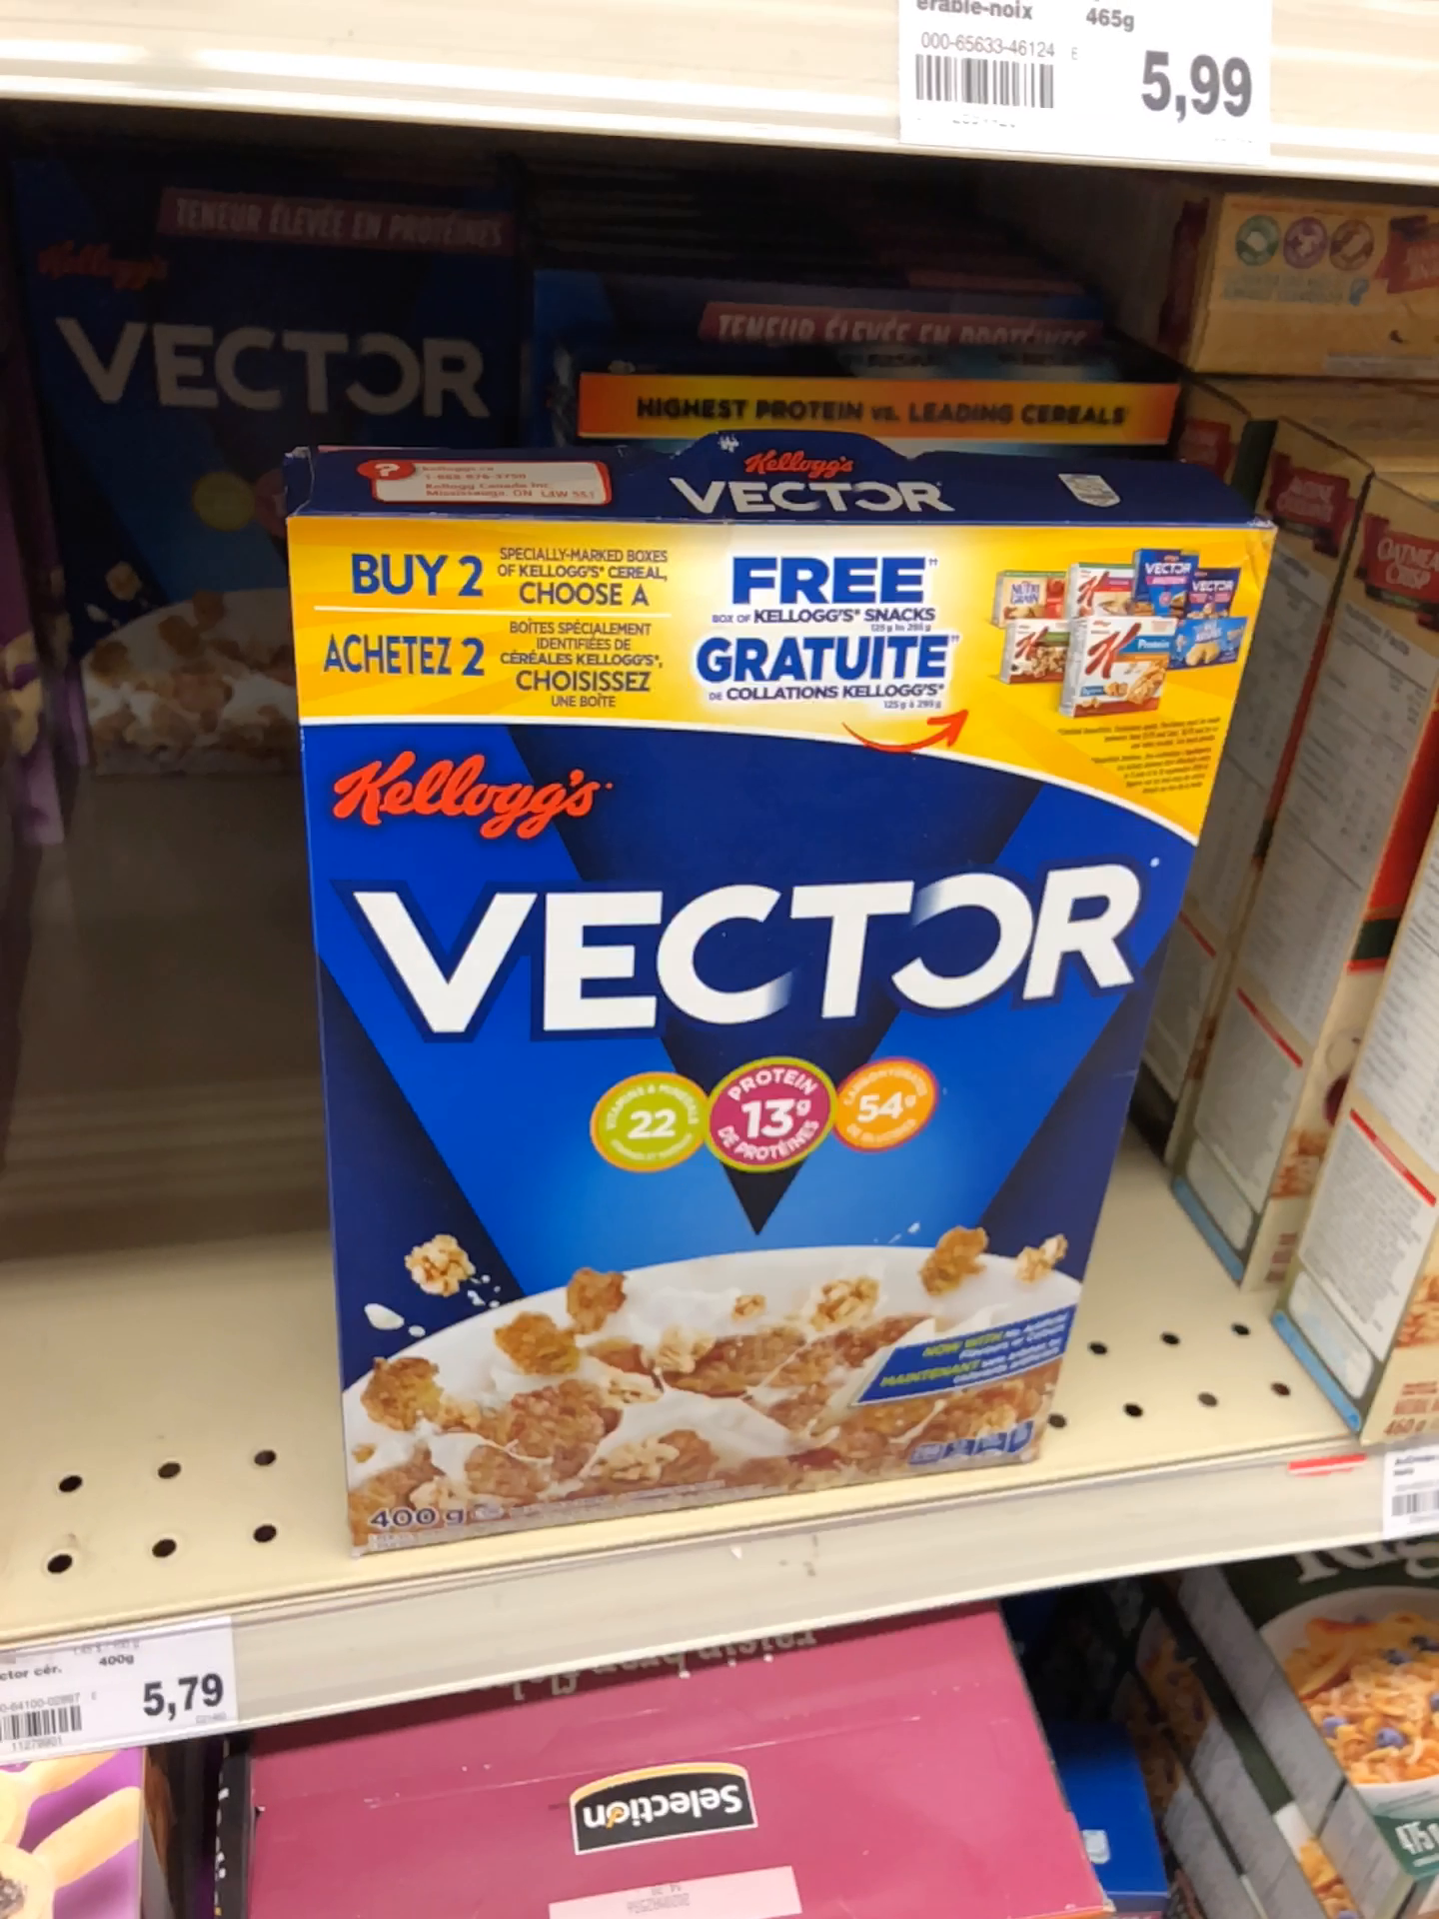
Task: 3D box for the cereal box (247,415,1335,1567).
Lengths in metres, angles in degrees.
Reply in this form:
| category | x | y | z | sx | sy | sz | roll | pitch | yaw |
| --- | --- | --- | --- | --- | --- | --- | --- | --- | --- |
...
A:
| category | x | y | z | sx | sy | sz | roll | pitch | yaw |
| --- | --- | --- | --- | --- | --- | --- | --- | --- | --- |
| cereal box | 0.003 | 0.019 | 0.379 | 0.200 | 0.268 | 0.060 | -3 | 34 | -14 |
